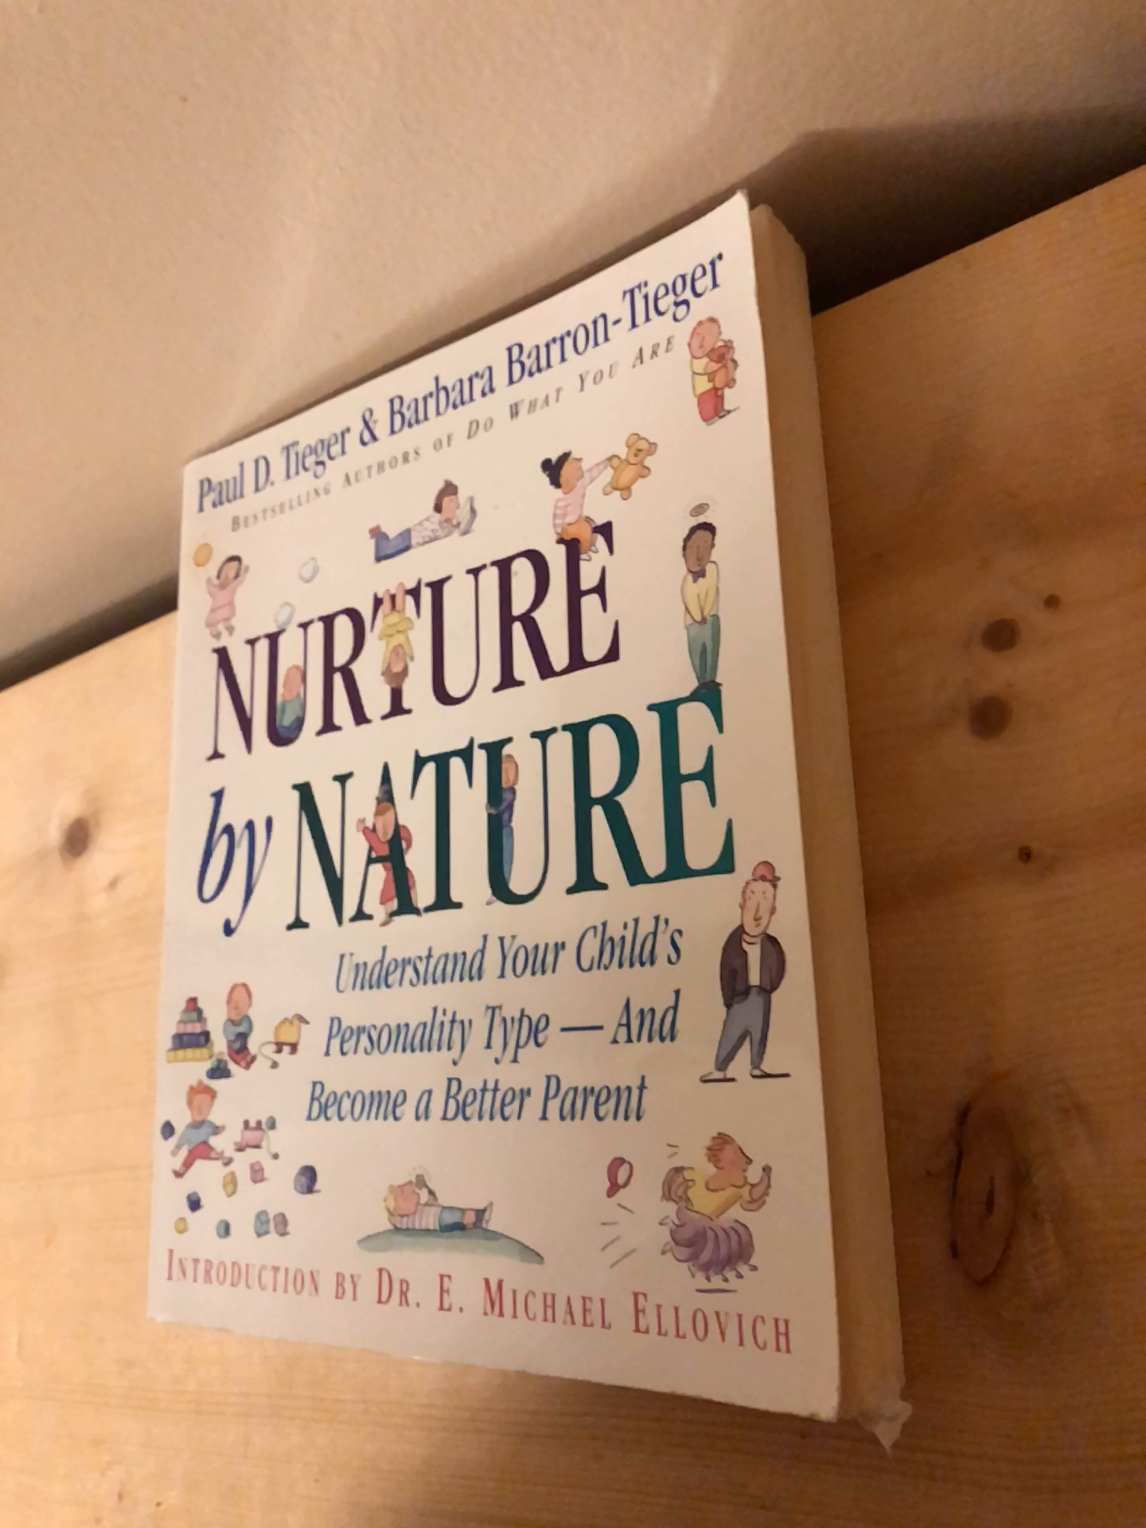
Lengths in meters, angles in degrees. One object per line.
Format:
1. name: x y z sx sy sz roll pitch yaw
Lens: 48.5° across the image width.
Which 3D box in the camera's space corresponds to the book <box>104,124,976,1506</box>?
1. book: -0.023 0.011 0.299 0.201 0.040 0.250 -11 73 35
